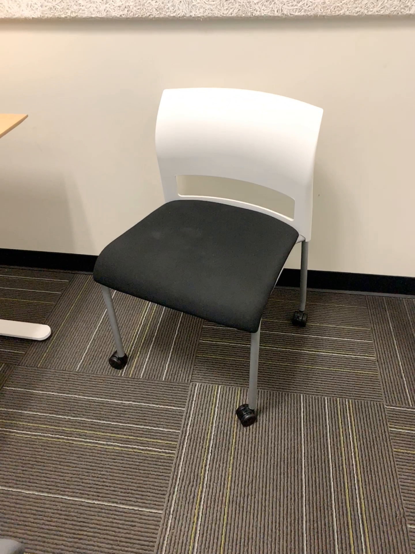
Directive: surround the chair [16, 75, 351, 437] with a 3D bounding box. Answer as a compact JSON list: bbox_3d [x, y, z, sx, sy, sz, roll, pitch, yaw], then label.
[{"bbox_3d":[-0.010,-0.082,1.207,0.581,0.735,0.542,16,44,21],"label":"chair"}]
